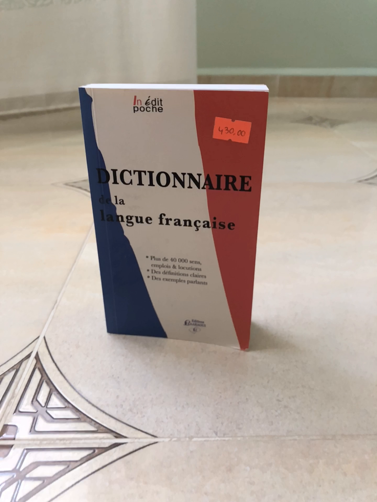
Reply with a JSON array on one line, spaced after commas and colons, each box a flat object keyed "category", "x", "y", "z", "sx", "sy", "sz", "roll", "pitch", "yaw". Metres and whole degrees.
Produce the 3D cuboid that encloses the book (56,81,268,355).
[{"category": "book", "x": -0.014, "y": -0.018, "z": 0.291, "sx": 0.121, "sy": 0.181, "sz": 0.034, "roll": 5, "pitch": 28, "yaw": 10}]
